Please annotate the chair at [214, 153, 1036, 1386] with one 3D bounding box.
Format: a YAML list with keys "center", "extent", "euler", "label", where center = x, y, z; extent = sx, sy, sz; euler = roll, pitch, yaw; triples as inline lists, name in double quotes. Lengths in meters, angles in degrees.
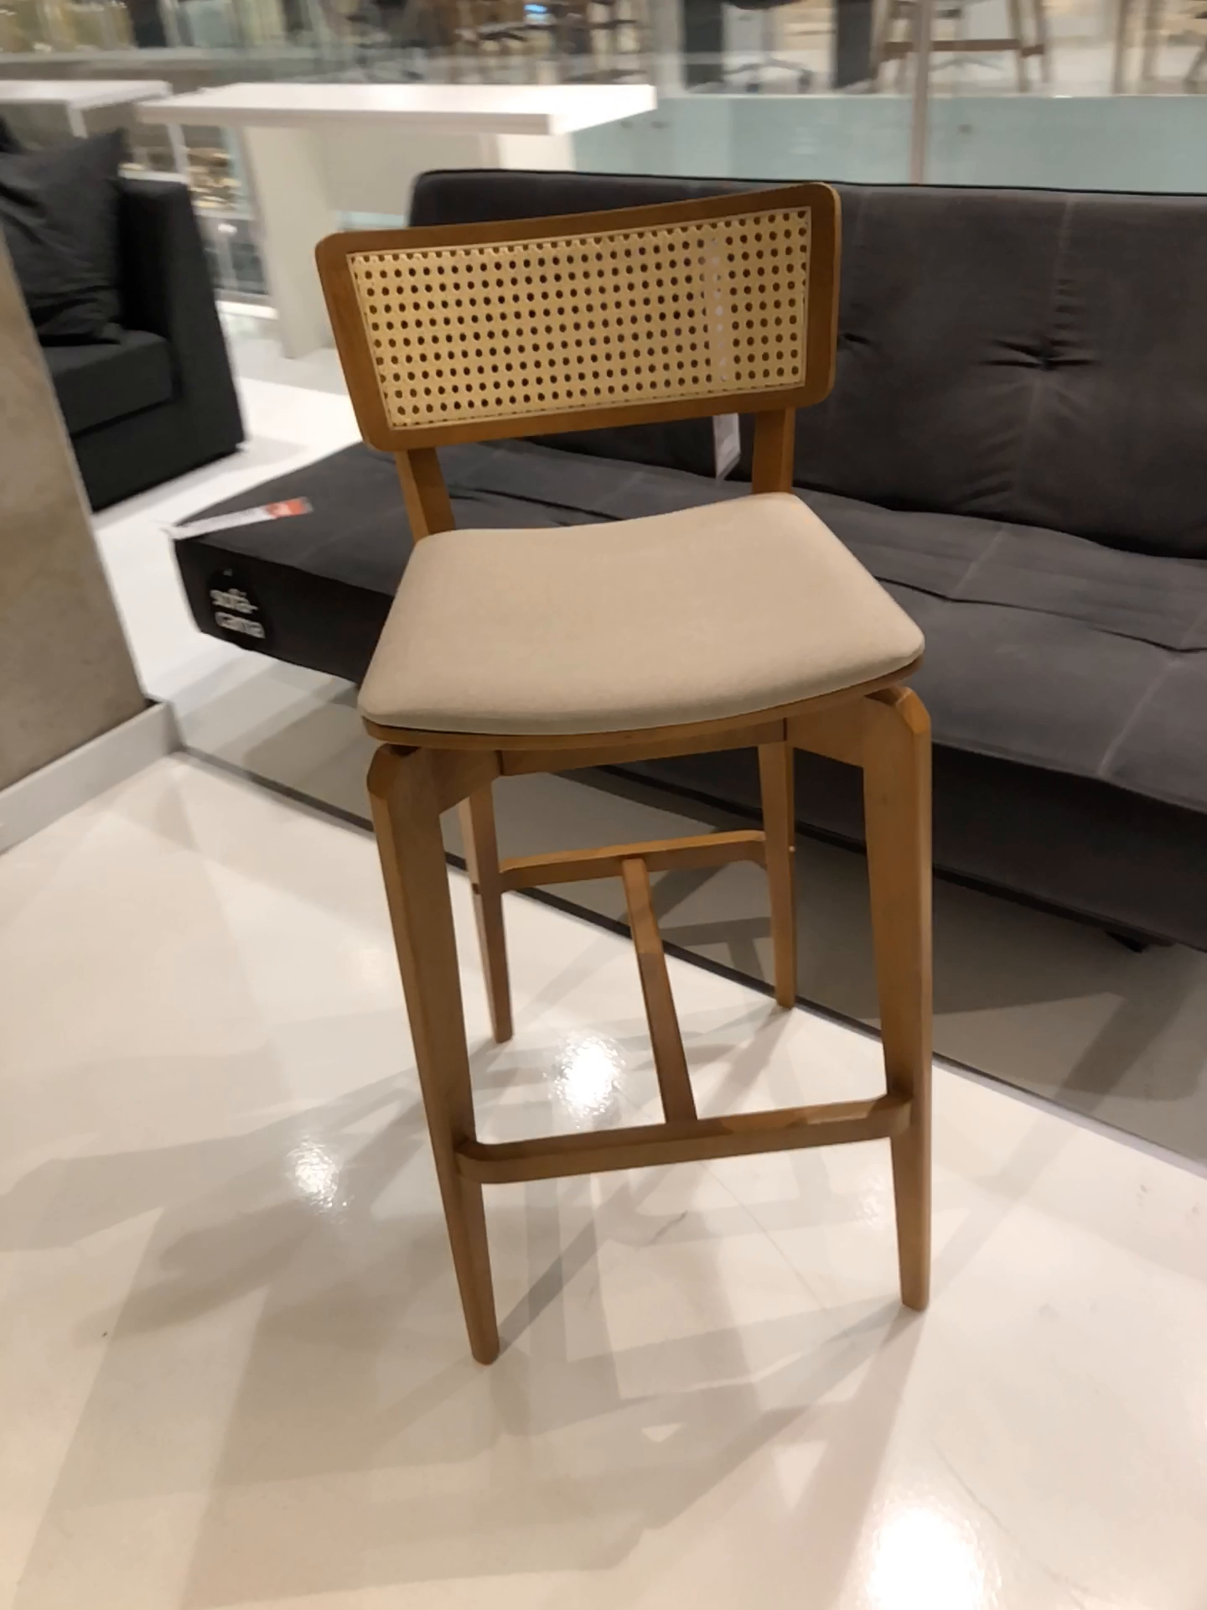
- center: [0.034, -0.015, 1.233]
  extent: [0.470, 0.962, 0.524]
  euler: [-7, 33, -1]
  label: "chair"
